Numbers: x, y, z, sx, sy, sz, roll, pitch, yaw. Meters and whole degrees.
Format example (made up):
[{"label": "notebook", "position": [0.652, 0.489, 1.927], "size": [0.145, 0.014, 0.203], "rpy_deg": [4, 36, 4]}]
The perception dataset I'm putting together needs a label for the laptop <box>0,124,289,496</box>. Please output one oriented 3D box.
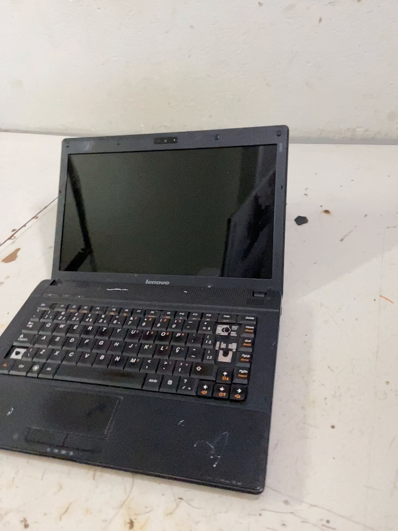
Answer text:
[{"label": "laptop", "position": [-0.084, -0.005, 0.505], "size": [0.357, 0.147, 0.424], "rpy_deg": [2, 42, 16]}]
